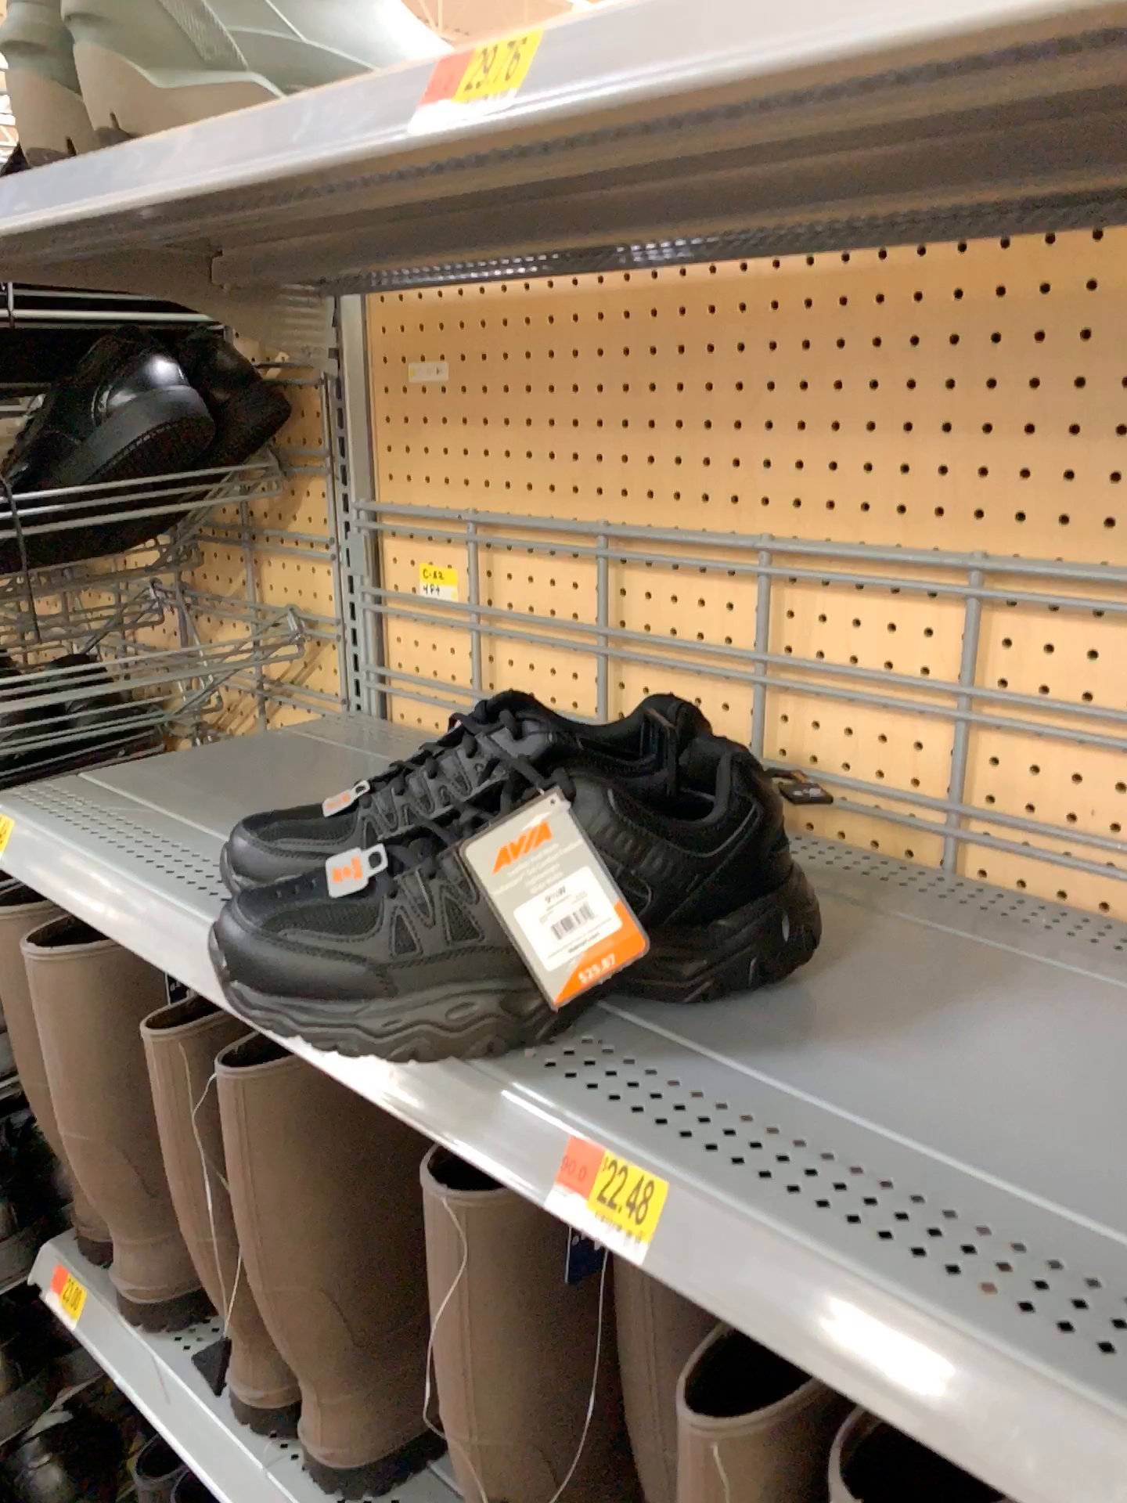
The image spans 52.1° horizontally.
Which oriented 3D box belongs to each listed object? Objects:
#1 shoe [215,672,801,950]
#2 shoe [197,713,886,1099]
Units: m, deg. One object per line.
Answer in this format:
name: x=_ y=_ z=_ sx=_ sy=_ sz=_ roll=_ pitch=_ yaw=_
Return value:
shoe: x=-0.033 y=0.025 z=0.660 sx=0.296 sy=0.104 sz=0.139 roll=-2 pitch=17 yaw=-9
shoe: x=-0.016 y=0.059 z=0.553 sx=0.296 sy=0.104 sz=0.135 roll=-5 pitch=17 yaw=-17
